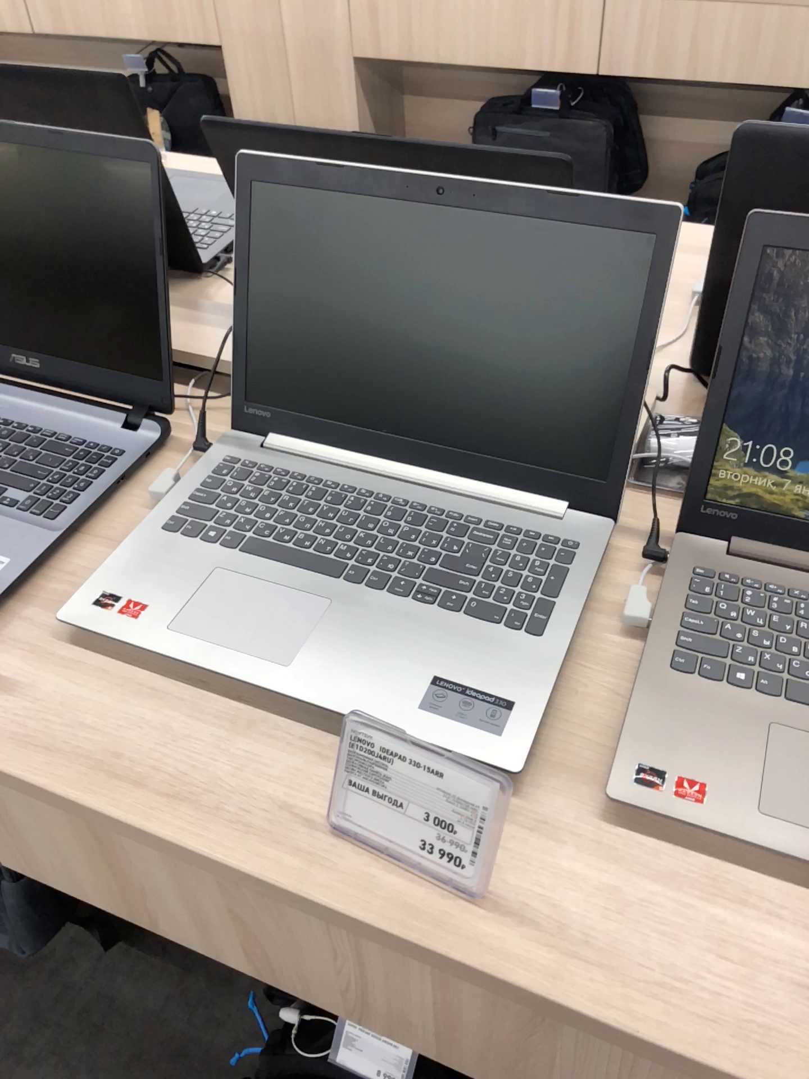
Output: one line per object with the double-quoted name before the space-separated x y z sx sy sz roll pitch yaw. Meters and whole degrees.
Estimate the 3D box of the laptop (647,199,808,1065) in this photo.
"laptop" 0.347 0.006 0.512 0.357 0.222 0.328 13 46 17

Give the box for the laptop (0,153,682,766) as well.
"laptop" -0.033 -0.091 0.648 0.365 0.220 0.336 14 46 19

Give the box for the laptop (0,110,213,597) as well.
"laptop" -0.420 -0.179 0.758 0.327 0.232 0.320 15 46 19
